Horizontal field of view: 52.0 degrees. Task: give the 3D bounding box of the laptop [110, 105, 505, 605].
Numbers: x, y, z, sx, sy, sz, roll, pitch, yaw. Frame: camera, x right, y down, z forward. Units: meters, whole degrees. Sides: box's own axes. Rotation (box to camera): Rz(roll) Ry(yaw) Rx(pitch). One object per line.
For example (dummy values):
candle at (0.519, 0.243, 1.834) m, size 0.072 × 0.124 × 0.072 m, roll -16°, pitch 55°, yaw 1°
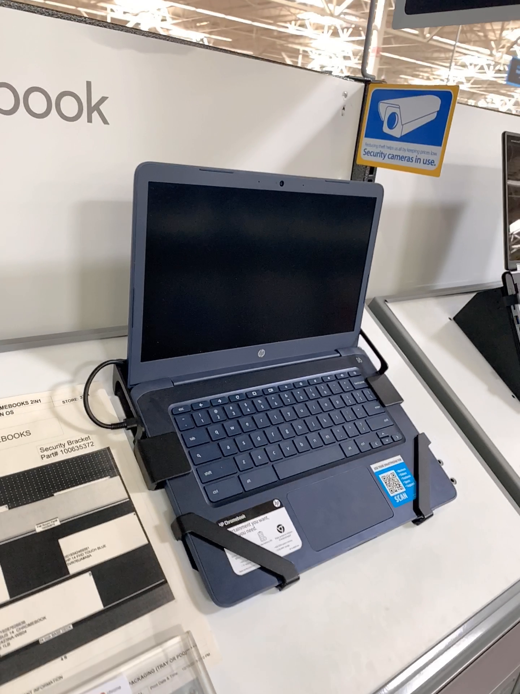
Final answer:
laptop at (0.043, -0.033, 0.565) m, size 0.317 × 0.189 × 0.323 m, roll -8°, pitch 48°, yaw -35°
